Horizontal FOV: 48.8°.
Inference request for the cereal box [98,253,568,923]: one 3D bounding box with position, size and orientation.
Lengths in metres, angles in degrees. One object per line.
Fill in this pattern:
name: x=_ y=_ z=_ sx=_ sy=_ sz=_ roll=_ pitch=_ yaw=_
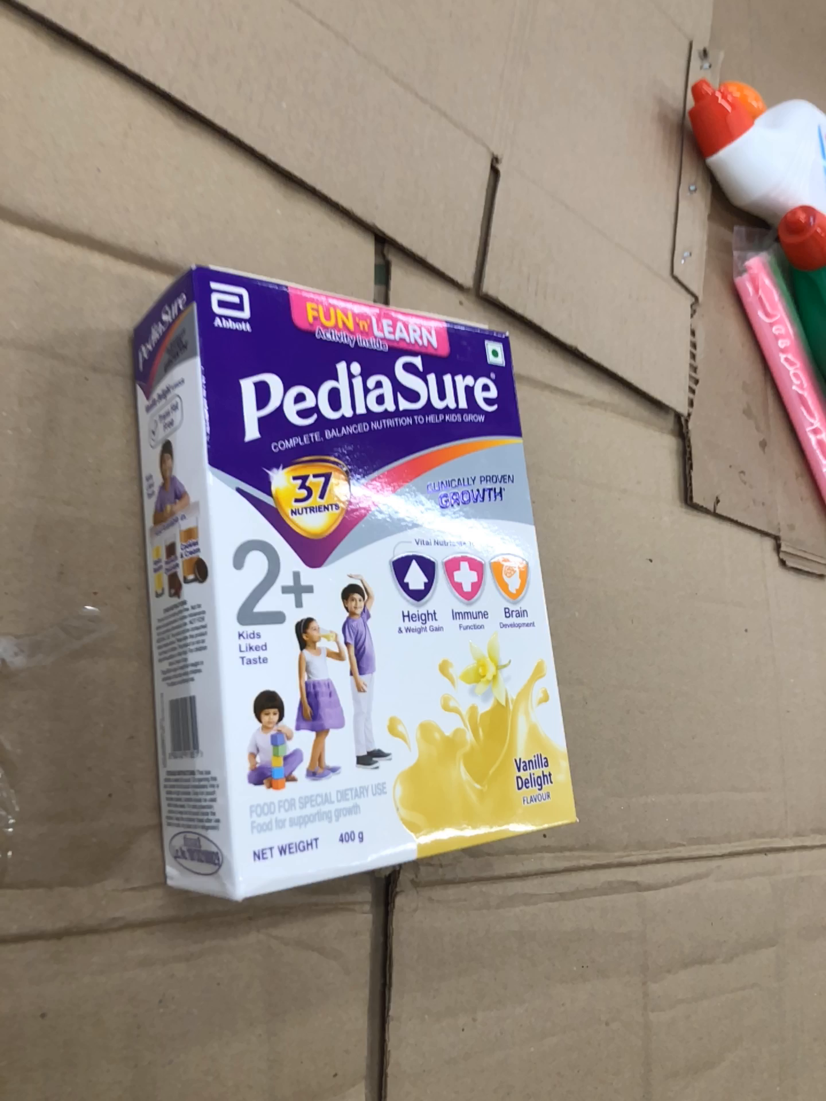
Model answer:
cereal box: x=-0.026 y=0.011 z=0.316 sx=0.141 sy=0.050 sz=0.190 roll=2 pitch=77 yaw=-38
